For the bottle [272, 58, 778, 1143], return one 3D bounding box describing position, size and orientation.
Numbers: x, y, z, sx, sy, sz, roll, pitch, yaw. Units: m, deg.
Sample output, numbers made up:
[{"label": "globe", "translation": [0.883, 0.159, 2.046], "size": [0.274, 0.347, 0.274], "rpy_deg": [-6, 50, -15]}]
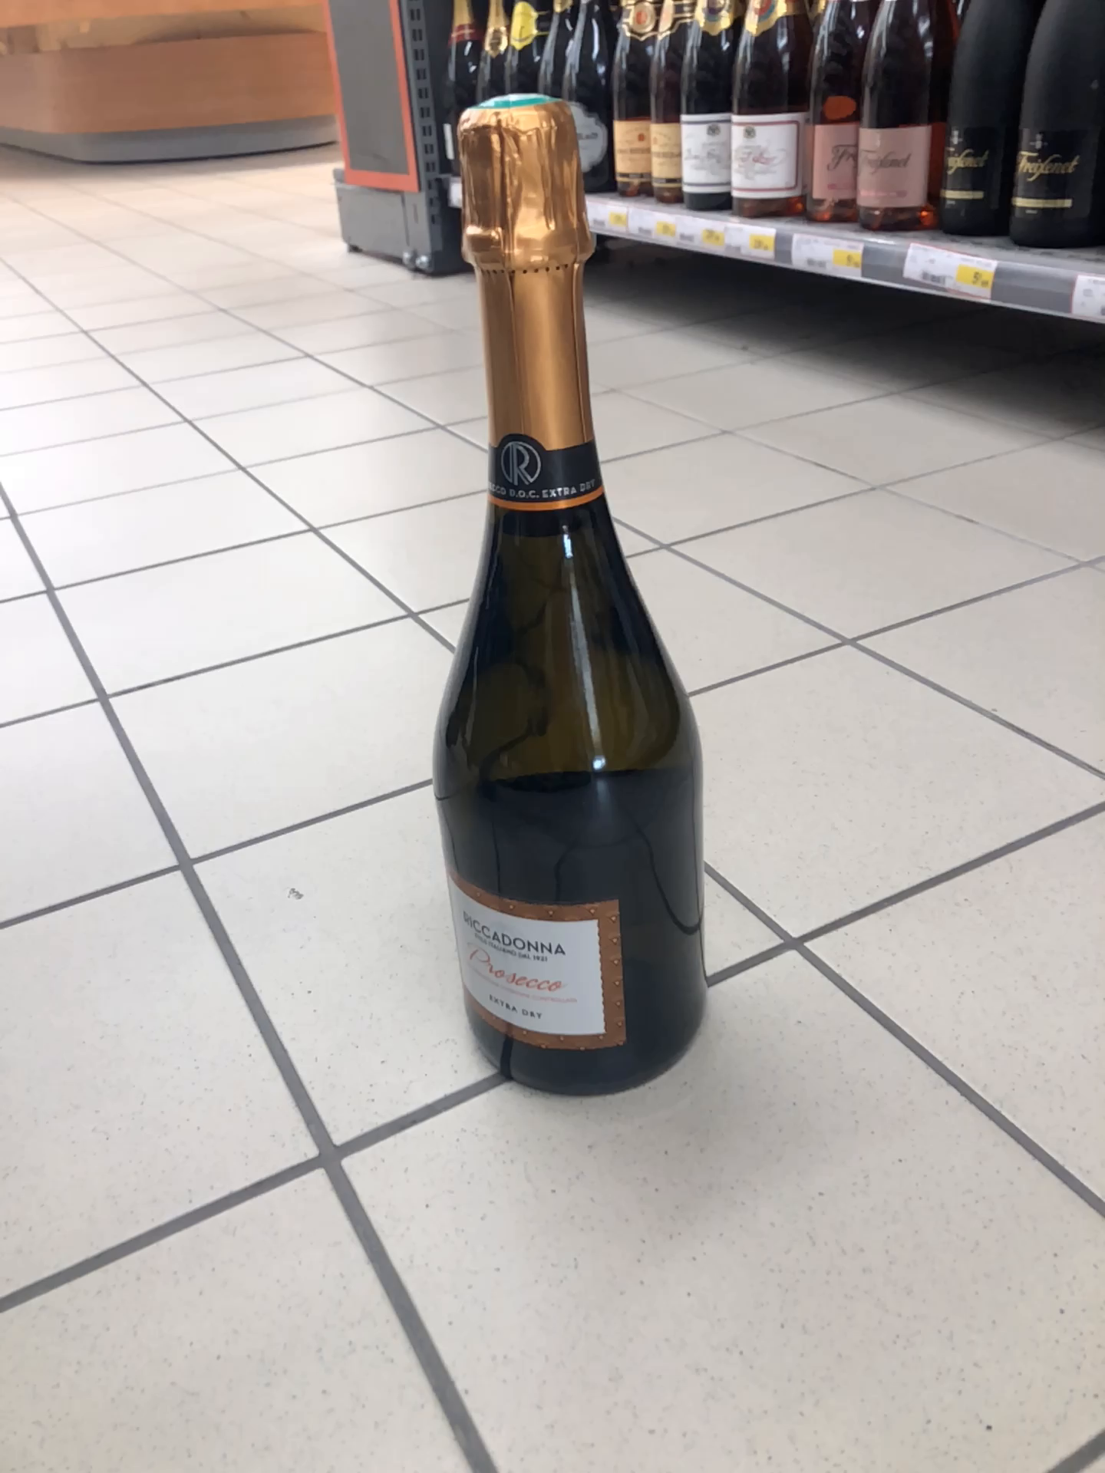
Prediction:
[{"label": "bottle", "translation": [0.006, -0.032, 0.391], "size": [0.100, 0.318, 0.091], "rpy_deg": [12, 32, 27]}]
